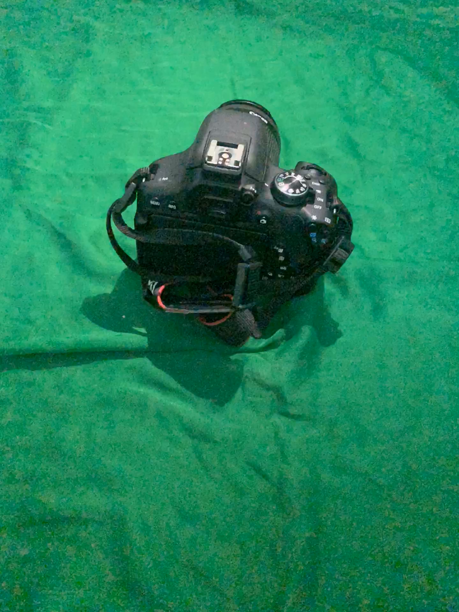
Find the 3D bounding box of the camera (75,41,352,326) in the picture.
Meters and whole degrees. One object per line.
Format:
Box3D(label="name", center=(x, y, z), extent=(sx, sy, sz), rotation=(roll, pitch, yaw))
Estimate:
Box3D(label="camera", center=(-0.002, -0.097, 0.355), extent=(0.152, 0.100, 0.191), rotation=(3, 55, 3))
